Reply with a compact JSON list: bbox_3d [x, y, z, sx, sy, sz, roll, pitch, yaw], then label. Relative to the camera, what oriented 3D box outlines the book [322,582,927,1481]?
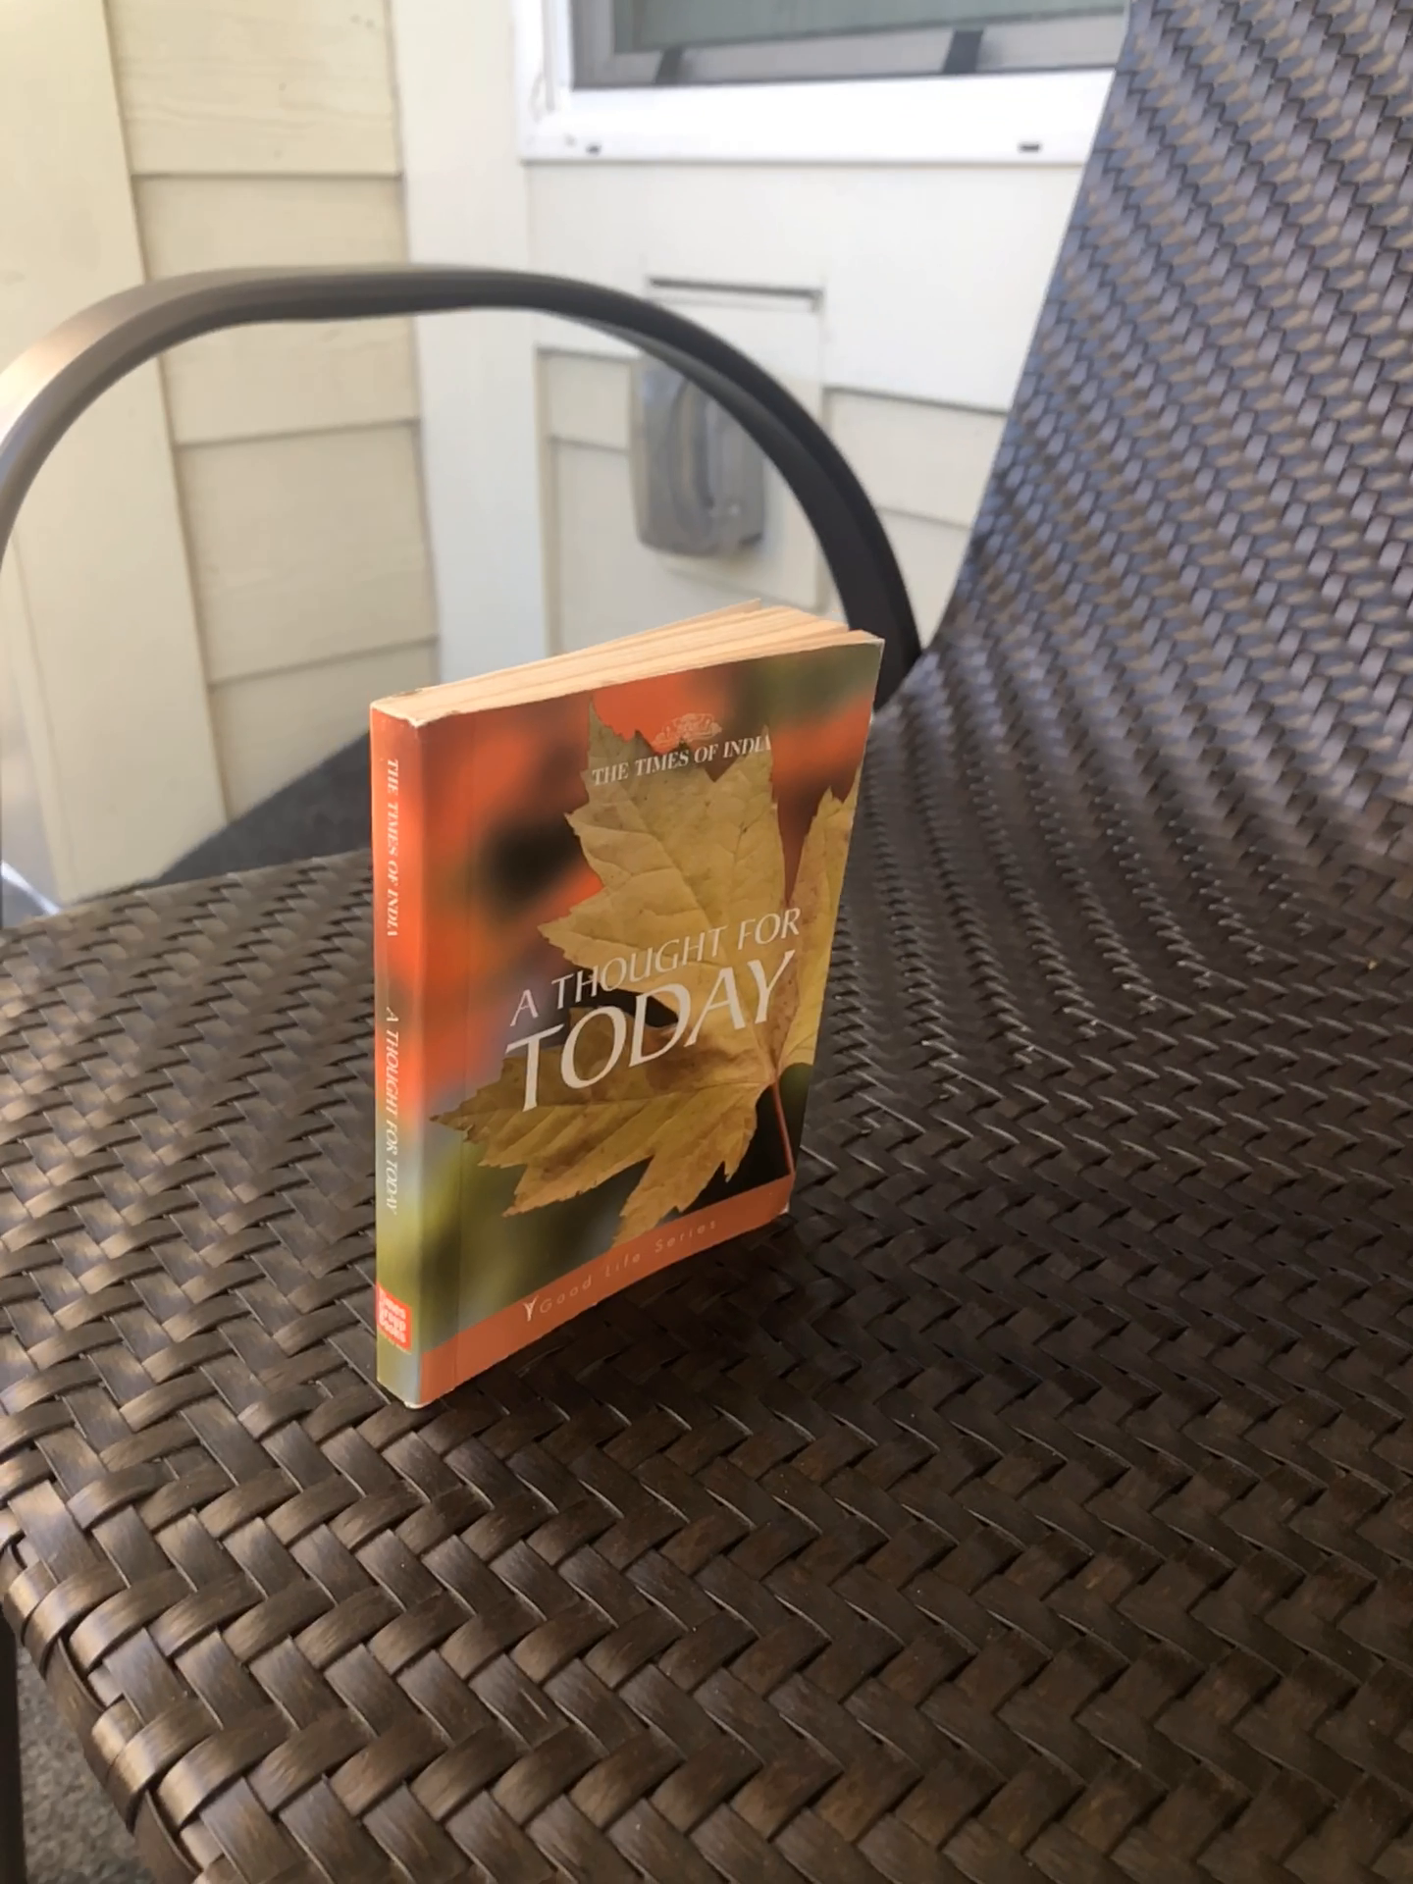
[{"bbox_3d":[-0.011,0.012,0.281,0.031,0.128,0.106,25,35,35],"label":"book"}]
